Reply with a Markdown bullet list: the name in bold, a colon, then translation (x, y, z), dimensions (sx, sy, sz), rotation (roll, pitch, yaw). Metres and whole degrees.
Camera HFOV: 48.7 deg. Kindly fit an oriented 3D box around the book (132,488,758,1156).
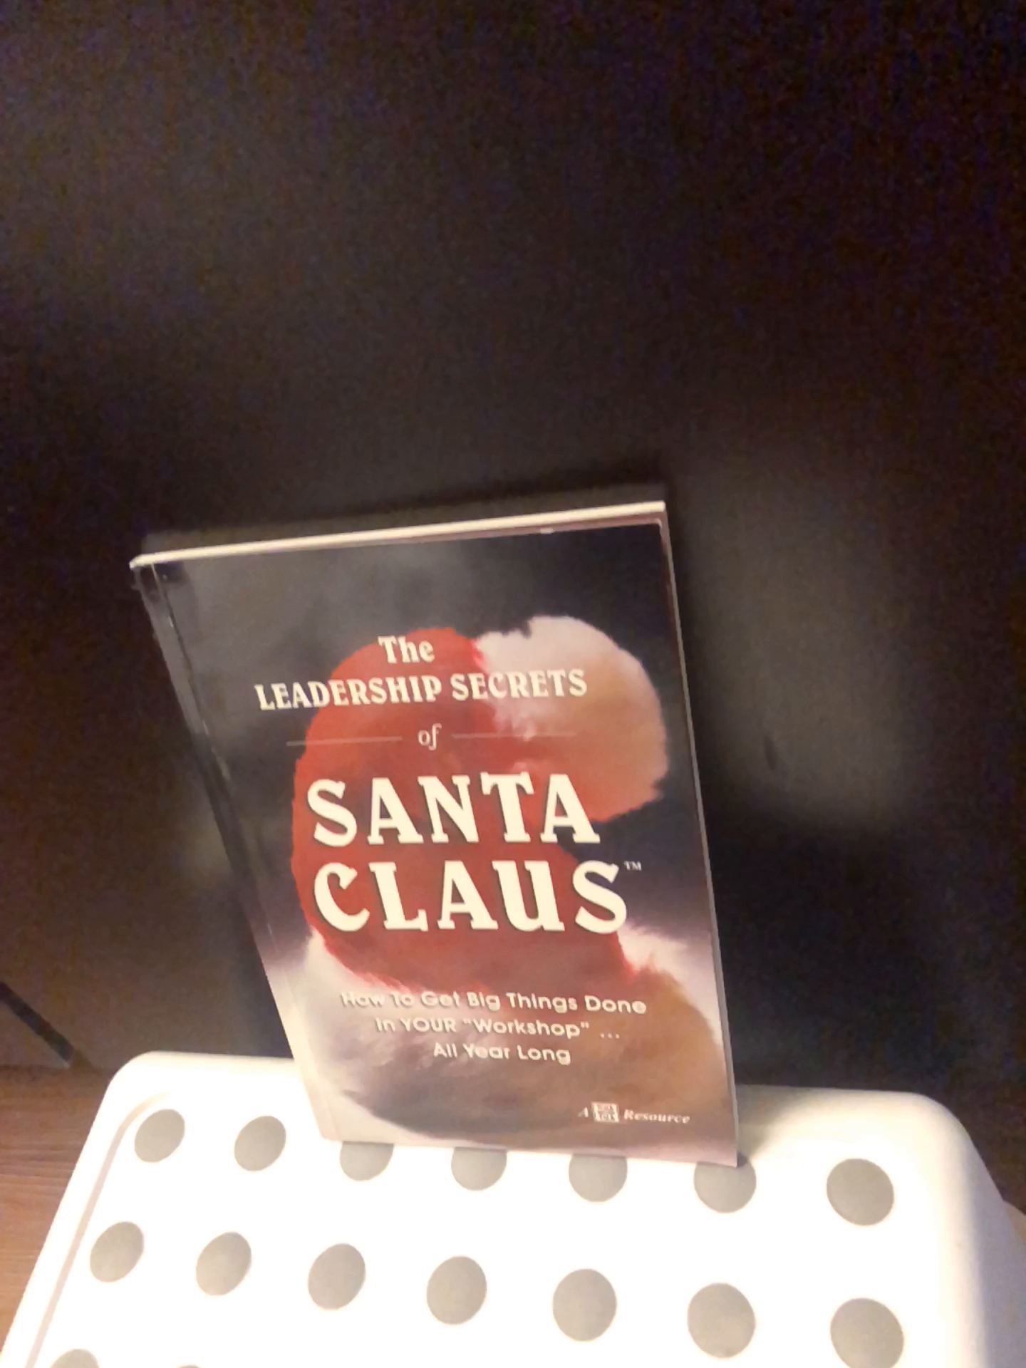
- **book**: translation (-0.013, 0.058, 0.355), dimensions (0.160, 0.225, 0.010), rotation (-4, 24, 15)
